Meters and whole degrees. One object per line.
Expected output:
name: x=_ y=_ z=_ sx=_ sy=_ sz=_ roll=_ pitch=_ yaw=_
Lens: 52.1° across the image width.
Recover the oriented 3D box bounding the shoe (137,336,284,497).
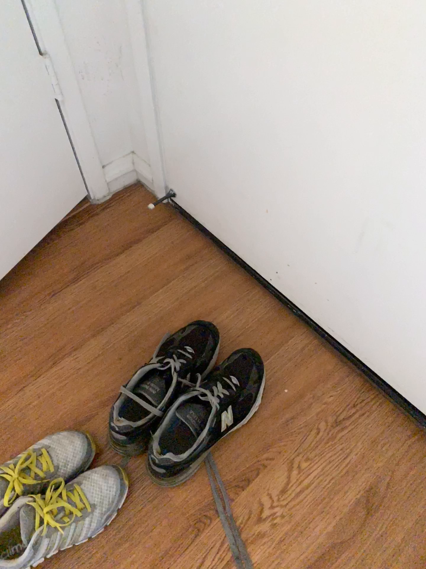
shoe: x=-0.002 y=0.270 z=0.895 sx=0.100 sy=0.169 sz=0.300 roll=40 pitch=65 yaw=18

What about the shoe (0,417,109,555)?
shoe: x=-0.327 y=0.344 z=0.756 sx=0.260 sy=0.169 sz=0.070 roll=-28 pitch=69 yaw=-16

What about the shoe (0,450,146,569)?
shoe: x=-0.258 y=0.410 z=0.768 sx=0.250 sy=0.169 sz=0.090 roll=-28 pitch=69 yaw=-16

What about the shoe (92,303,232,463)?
shoe: x=-0.100 y=0.213 z=0.952 sx=0.100 sy=0.169 sz=0.310 roll=35 pitch=63 yaw=16
